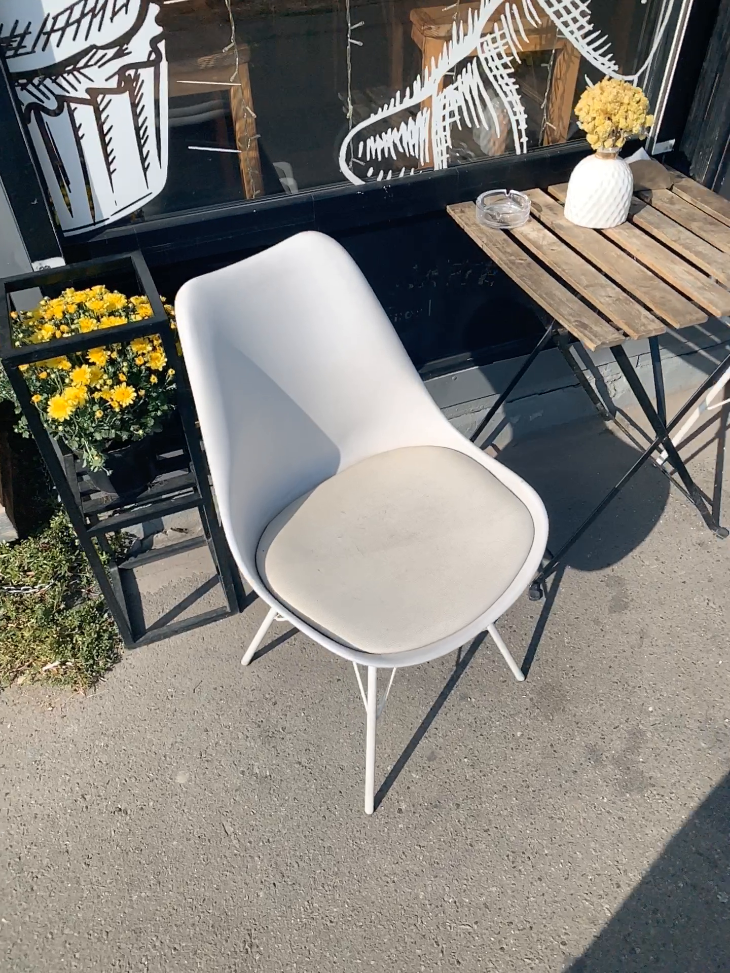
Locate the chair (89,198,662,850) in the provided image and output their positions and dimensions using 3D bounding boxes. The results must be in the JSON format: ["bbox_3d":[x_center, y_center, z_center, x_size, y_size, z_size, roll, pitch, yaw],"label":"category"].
[{"bbox_3d":[0.011,0.070,1.199,0.481,0.777,0.532,-34,54,-28],"label":"chair"}]
